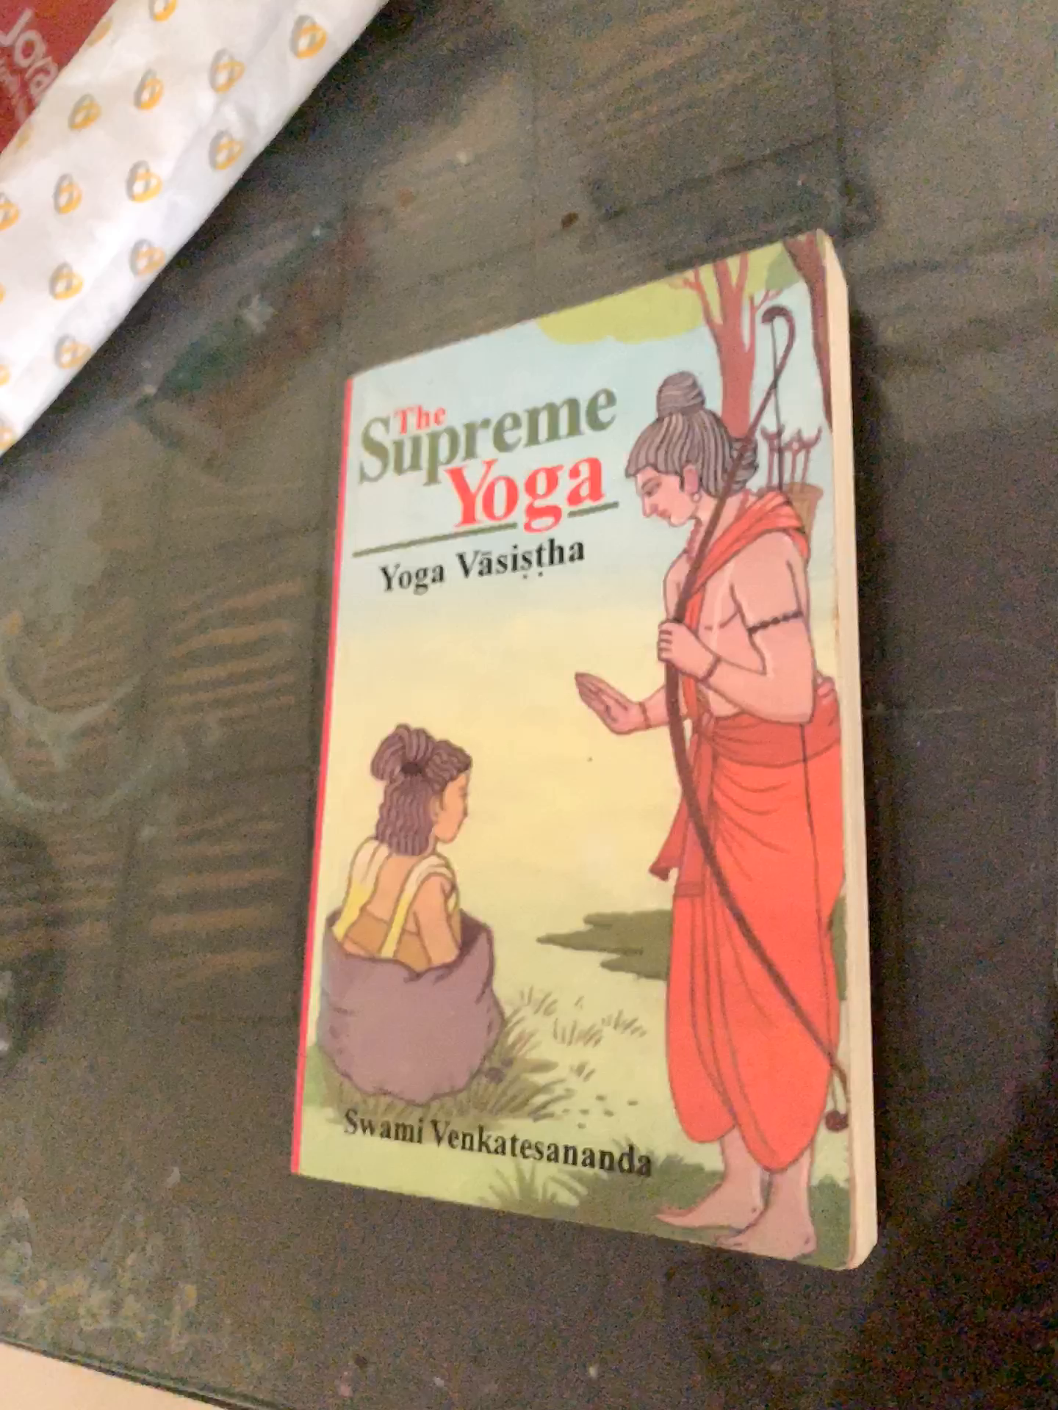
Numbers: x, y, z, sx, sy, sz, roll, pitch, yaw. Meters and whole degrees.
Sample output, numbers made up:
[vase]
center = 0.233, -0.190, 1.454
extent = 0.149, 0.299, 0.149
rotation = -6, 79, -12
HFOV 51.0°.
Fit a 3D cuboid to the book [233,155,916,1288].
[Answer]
[book]
center = 0.004, 0.000, 0.248
extent = 0.141, 0.030, 0.210
rotation = -7, 74, 31
